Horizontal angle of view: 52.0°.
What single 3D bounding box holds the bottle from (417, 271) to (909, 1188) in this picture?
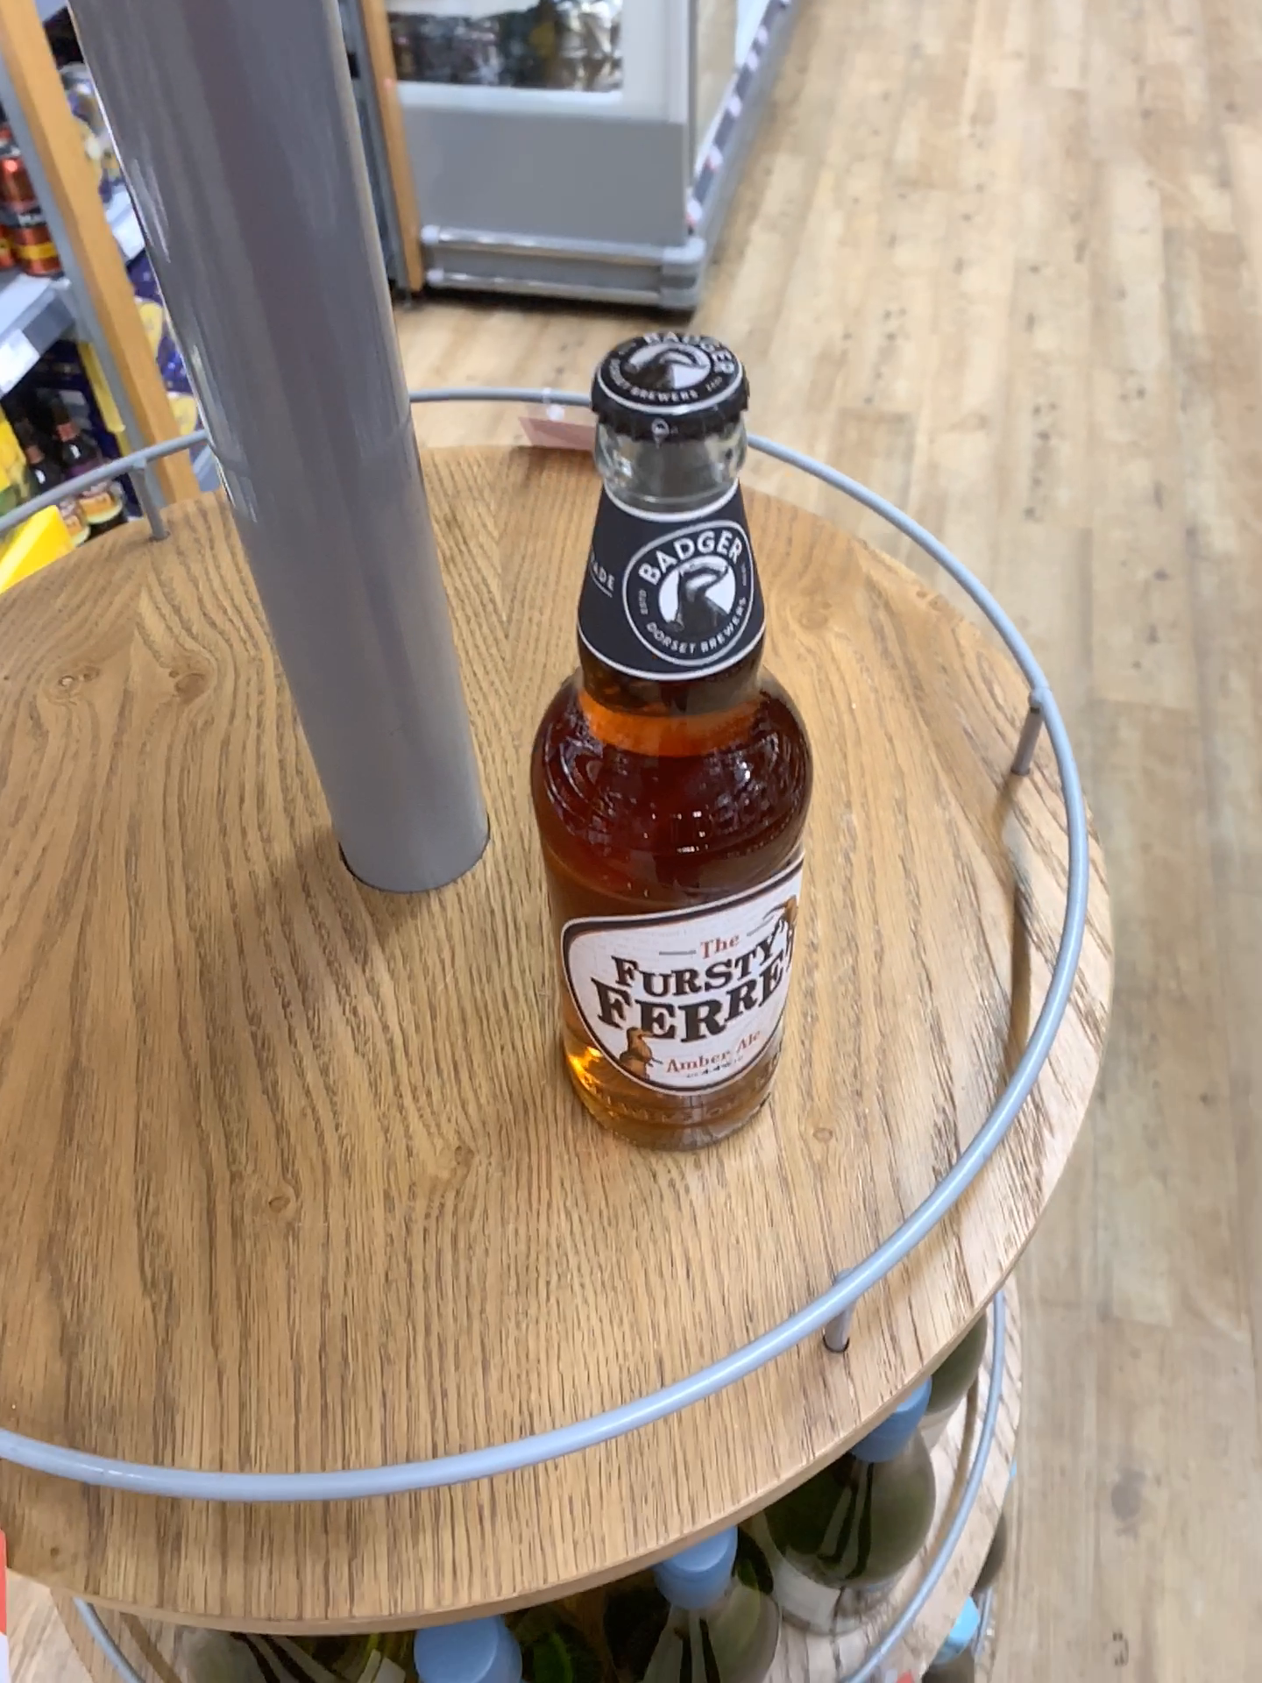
[{"bbox_3d":[0.006,-0.007,0.326,0.069,0.231,0.076,-16,51,-10],"label":"bottle"}]
